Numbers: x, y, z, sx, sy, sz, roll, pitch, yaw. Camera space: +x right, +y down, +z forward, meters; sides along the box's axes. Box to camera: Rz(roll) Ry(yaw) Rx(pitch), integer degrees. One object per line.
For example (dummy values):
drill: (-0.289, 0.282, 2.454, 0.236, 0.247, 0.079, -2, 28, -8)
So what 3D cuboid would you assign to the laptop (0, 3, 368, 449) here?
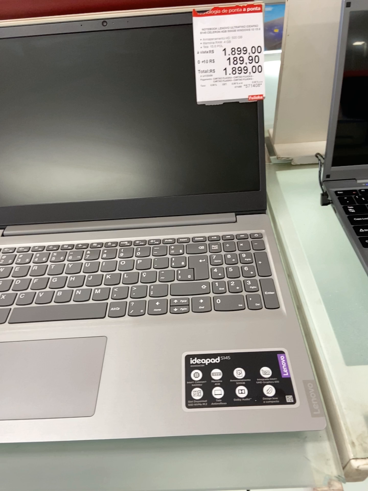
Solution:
laptop: (-0.086, -0.063, 0.366, 0.366, 0.189, 0.404, -4, 43, 3)
